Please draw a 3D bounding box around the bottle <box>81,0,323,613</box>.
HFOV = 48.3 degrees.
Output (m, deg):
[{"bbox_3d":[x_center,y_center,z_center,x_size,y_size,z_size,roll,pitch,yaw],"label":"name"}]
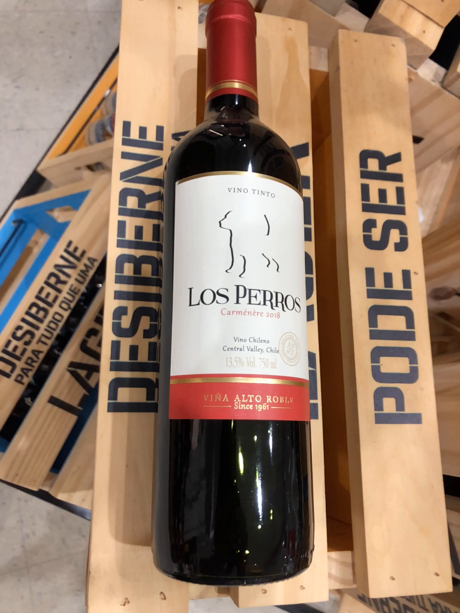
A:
[{"bbox_3d":[-0.014,-0.033,0.246,0.090,0.060,0.310,3,78,-15],"label":"bottle"}]
